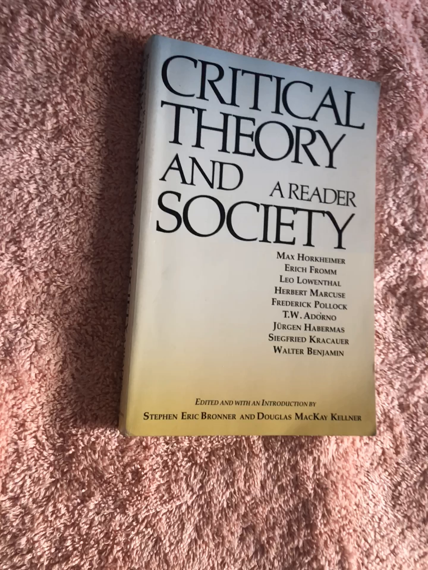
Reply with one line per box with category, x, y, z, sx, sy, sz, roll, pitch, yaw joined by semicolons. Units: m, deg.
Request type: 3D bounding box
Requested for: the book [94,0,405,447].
book;0.026;-0.029;0.287;0.170;0.050;0.230;5;84;-18
